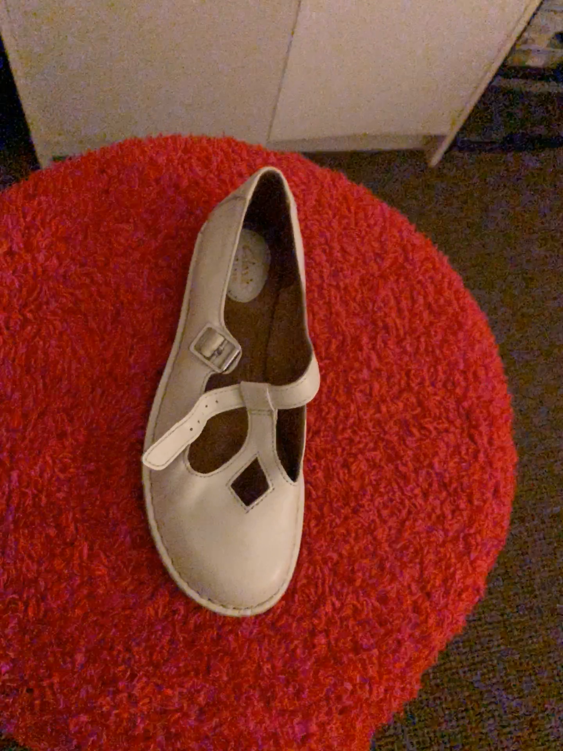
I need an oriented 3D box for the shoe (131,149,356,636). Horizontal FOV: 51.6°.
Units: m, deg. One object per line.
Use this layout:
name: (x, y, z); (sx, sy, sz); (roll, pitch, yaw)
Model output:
shoe: (-0.029, 0.006, 0.345); (0.100, 0.090, 0.261); (1, 69, -10)
